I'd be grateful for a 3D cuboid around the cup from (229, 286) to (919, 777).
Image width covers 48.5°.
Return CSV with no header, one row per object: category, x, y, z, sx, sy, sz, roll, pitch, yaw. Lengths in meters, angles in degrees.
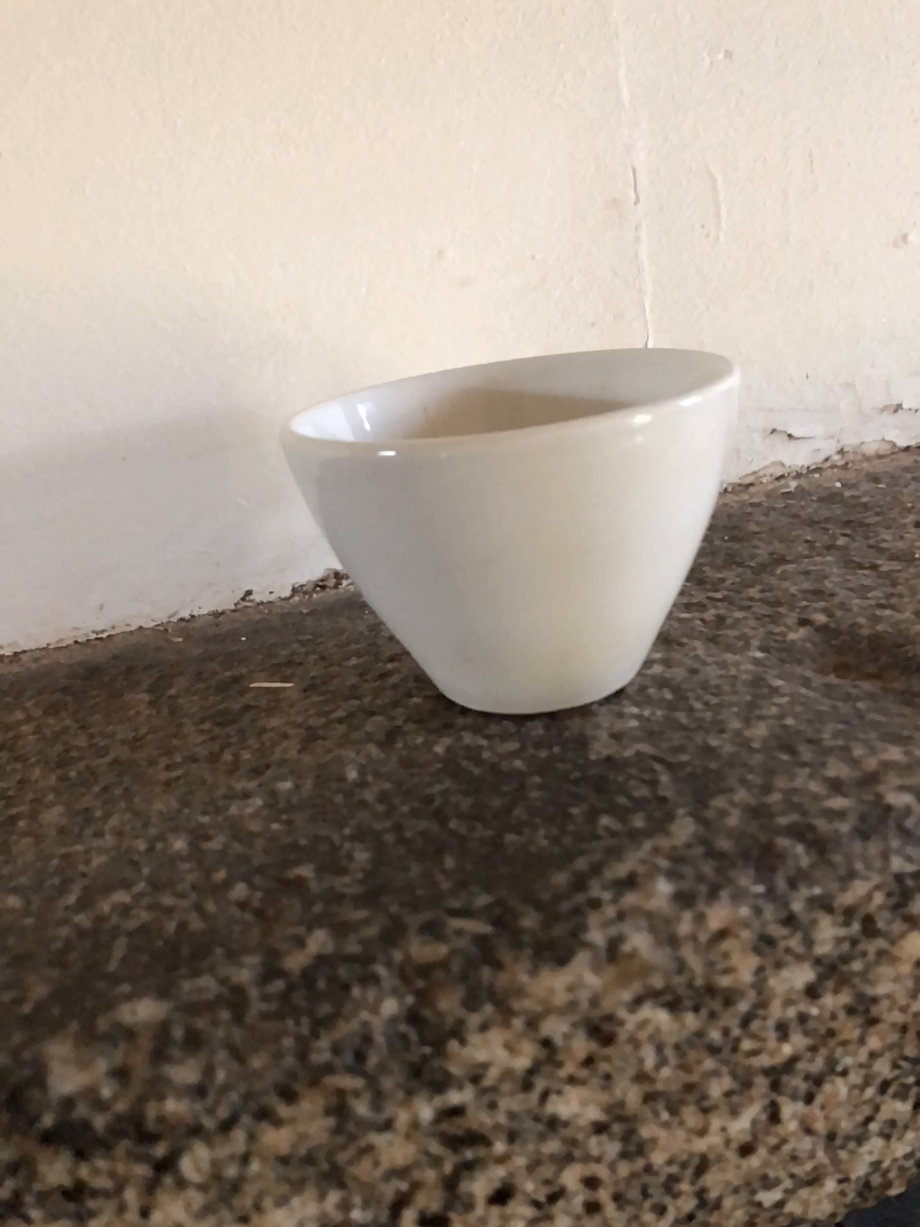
cup,0.026,-0.025,0.190,0.080,0.050,0.100,12,29,43
